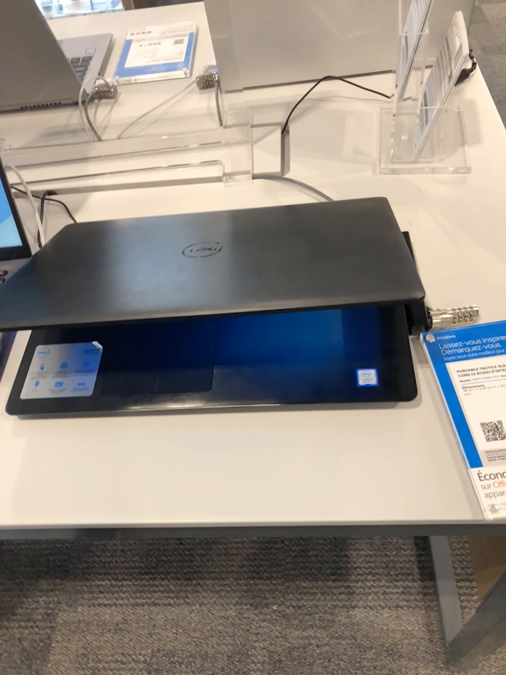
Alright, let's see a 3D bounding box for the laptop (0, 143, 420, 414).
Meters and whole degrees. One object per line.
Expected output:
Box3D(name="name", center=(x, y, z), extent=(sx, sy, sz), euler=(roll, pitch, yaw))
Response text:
Box3D(name="laptop", center=(-0.048, -0.062, 0.531), extent=(0.365, 0.080, 0.245), euler=(-3, 52, 6))
